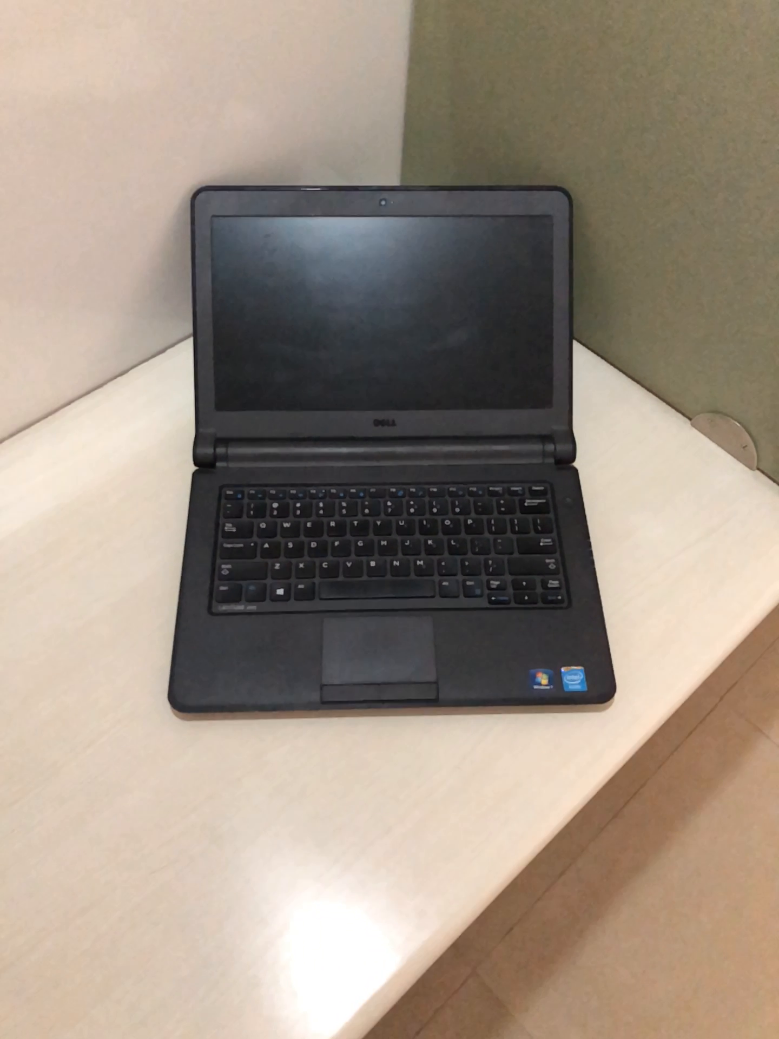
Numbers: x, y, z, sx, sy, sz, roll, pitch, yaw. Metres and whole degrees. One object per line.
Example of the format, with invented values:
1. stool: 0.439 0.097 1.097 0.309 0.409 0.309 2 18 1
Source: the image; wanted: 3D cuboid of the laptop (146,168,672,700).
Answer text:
1. laptop: 0.007 -0.081 0.658 0.309 0.128 0.396 -1 59 -1
